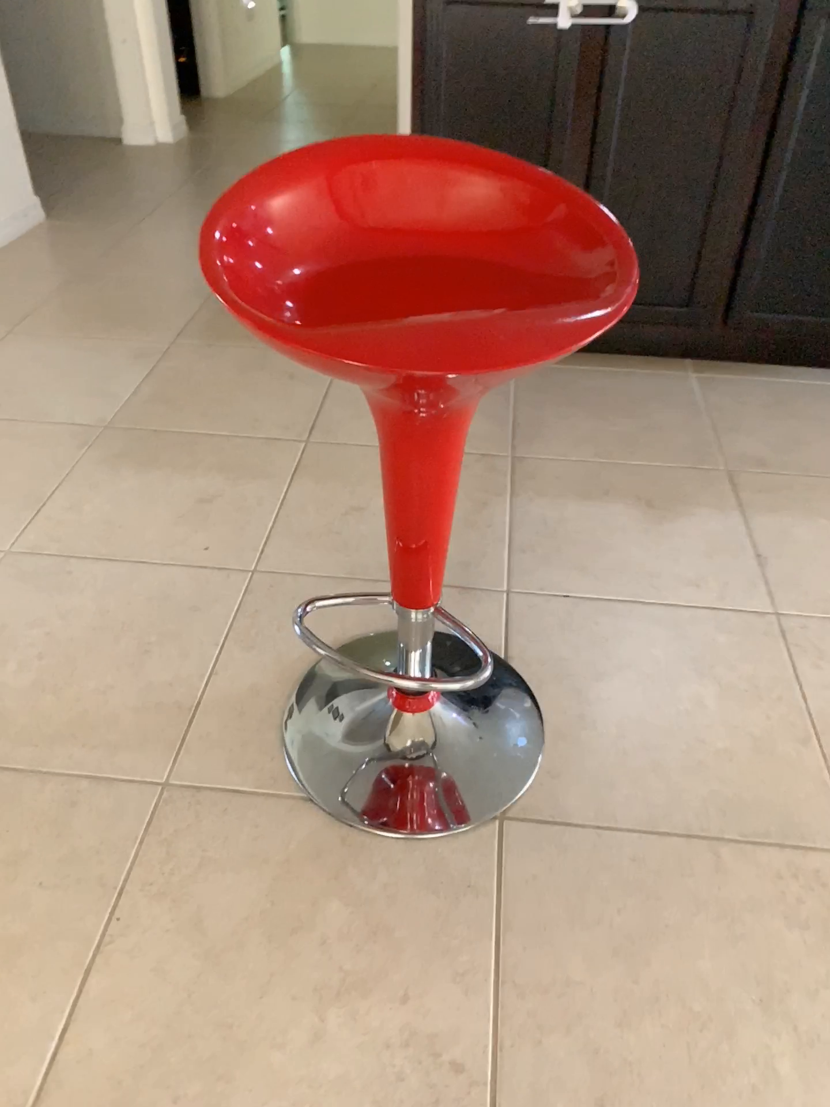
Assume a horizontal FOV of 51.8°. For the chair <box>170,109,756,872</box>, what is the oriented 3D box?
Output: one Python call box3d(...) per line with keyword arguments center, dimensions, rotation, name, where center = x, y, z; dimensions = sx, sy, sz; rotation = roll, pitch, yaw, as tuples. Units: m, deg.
box3d(center=(-0.006, -0.070, 1.001), dimensions=(0.437, 0.726, 0.435), rotation=(-7, 38, -11), name="chair")
